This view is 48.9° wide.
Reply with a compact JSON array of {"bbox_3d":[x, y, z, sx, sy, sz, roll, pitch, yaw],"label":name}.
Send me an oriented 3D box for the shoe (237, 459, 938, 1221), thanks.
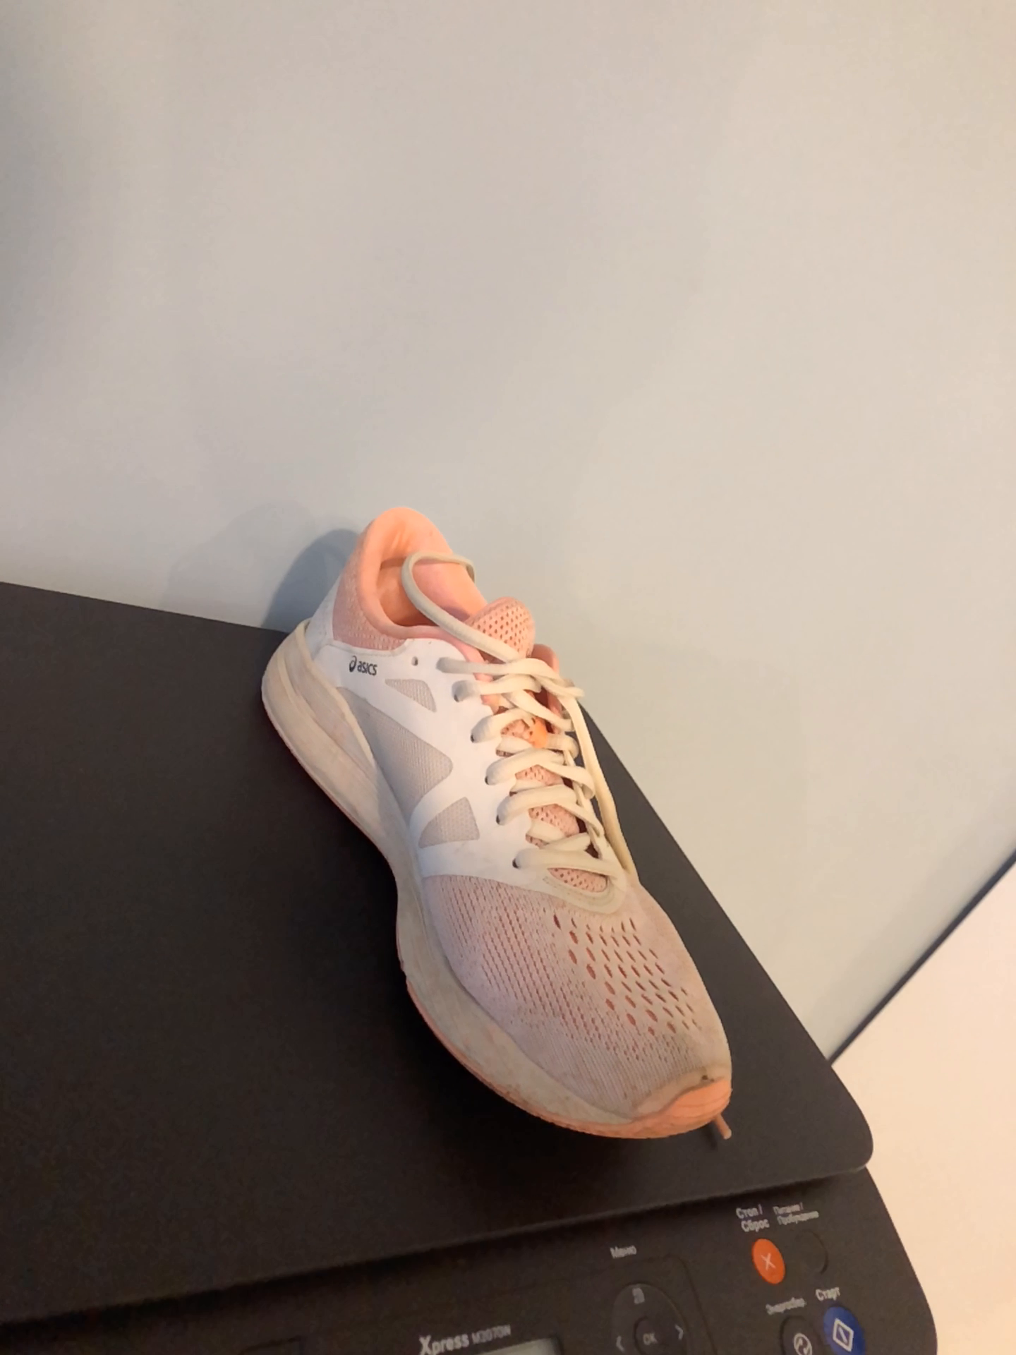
[{"bbox_3d":[0.007,0.037,0.397,0.116,0.089,0.254,8,33,-38],"label":"shoe"}]
